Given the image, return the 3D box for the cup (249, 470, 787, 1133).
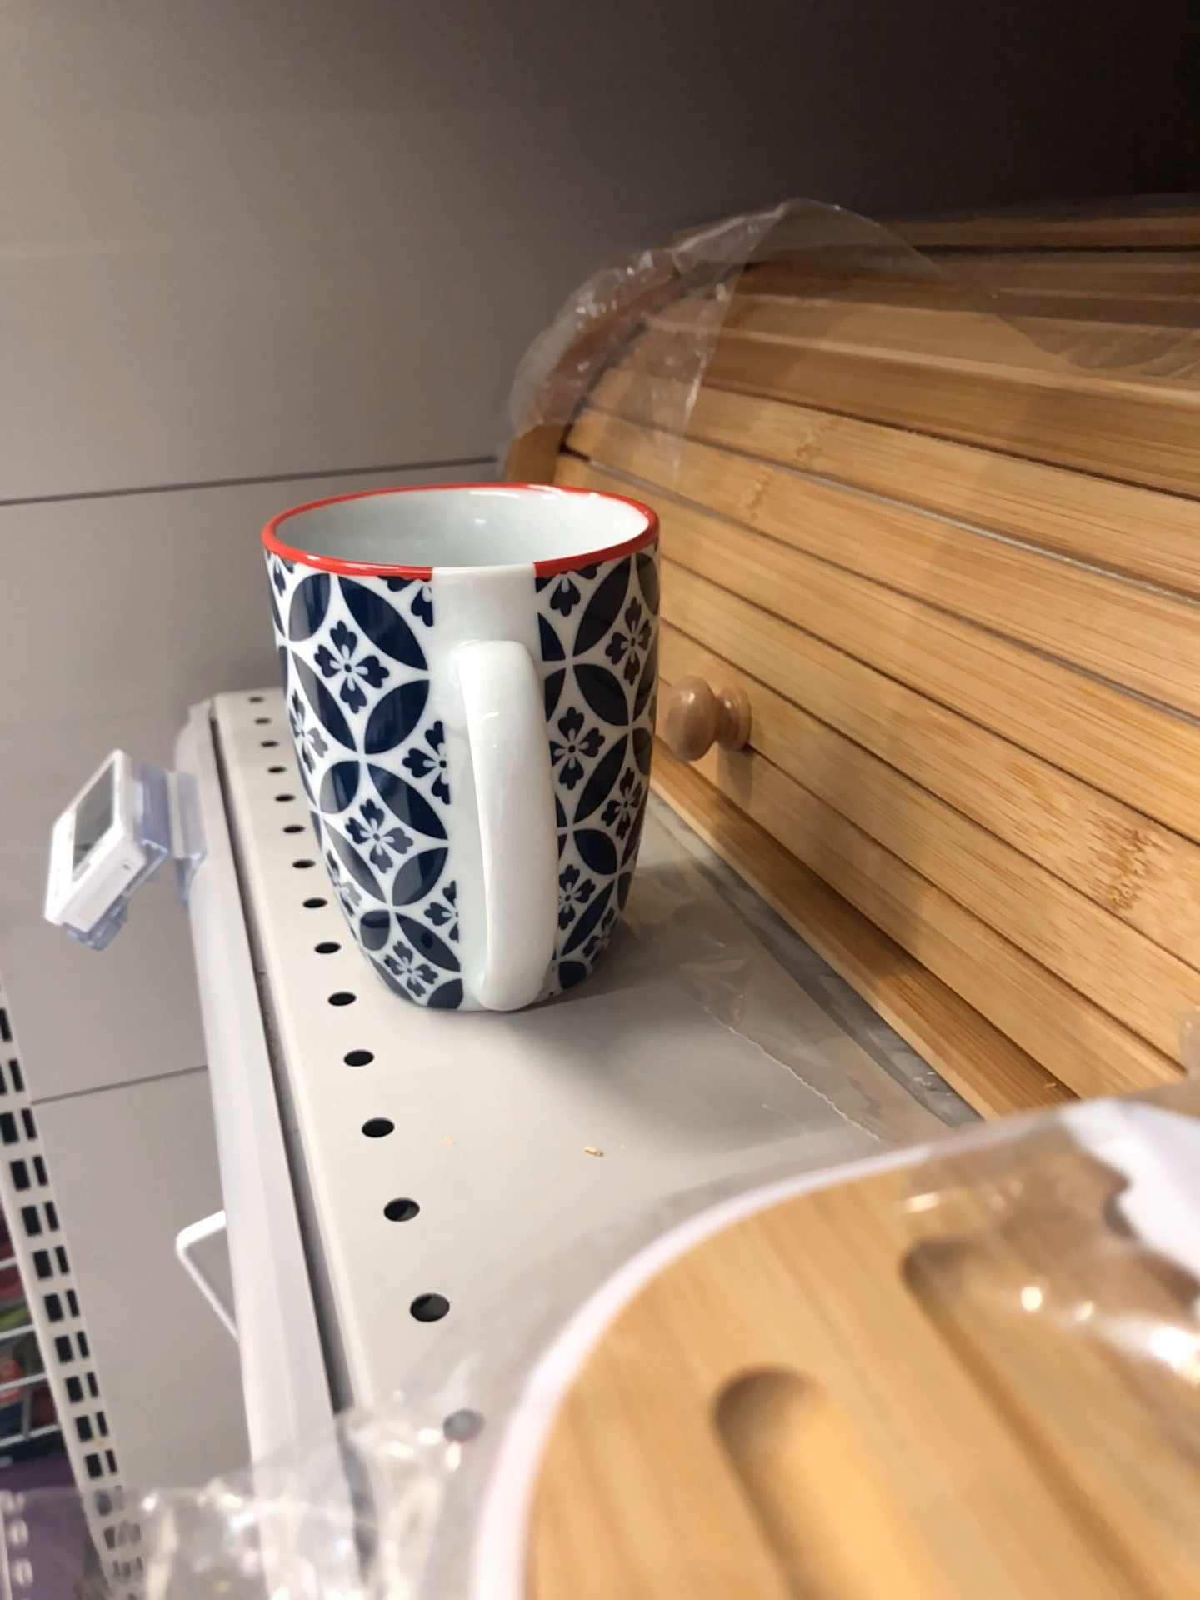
[{"bbox_3d":[-0.022,-0.010,0.275,0.080,0.090,0.113,-9,24,-15],"label":"cup"}]
